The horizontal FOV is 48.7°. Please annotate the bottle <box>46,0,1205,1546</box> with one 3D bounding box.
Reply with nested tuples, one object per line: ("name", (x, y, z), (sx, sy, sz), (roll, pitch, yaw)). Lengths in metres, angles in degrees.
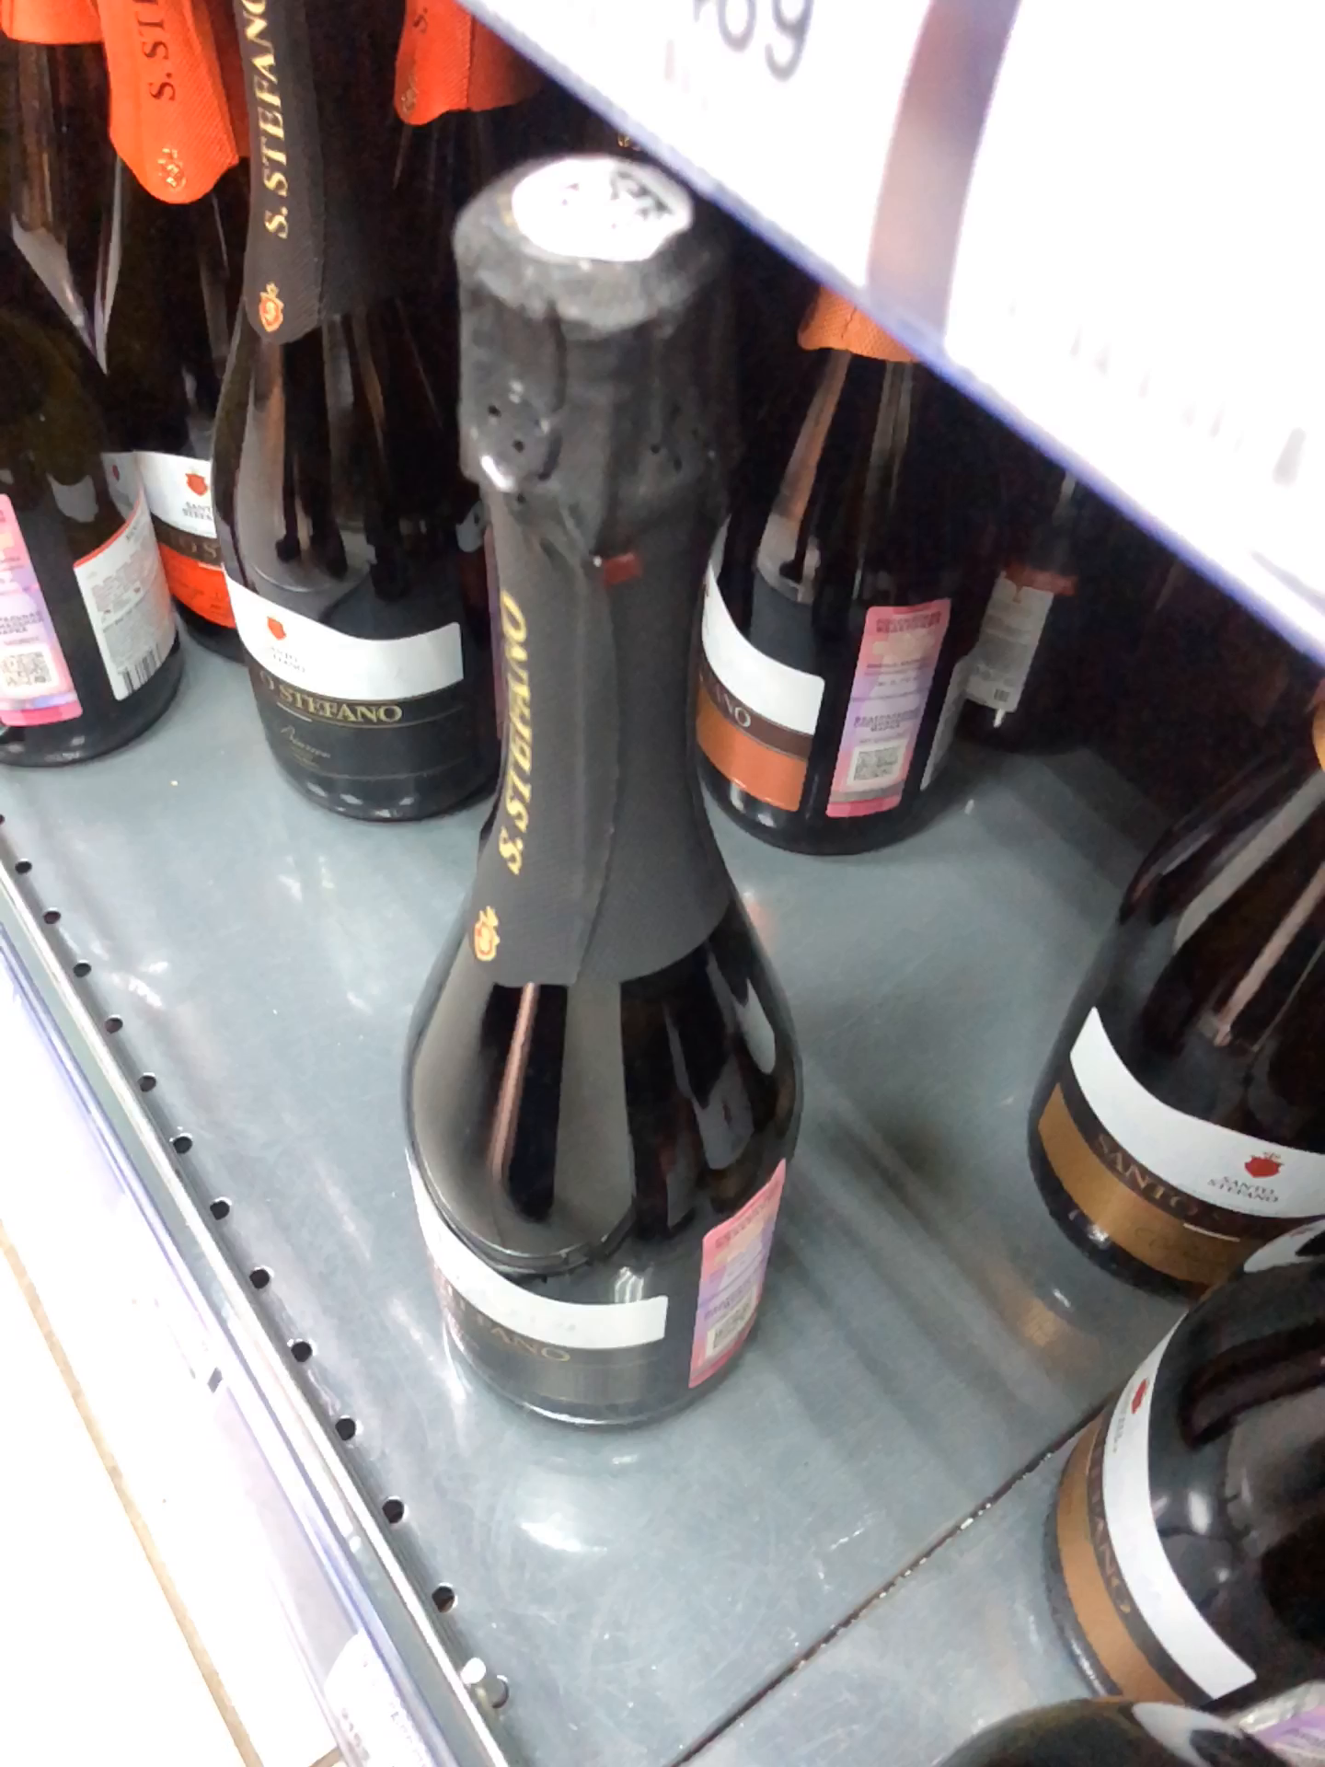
("bottle", (-0.013, 0.016, 0.279), (0.090, 0.288, 0.100), (-29, 59, -24))
